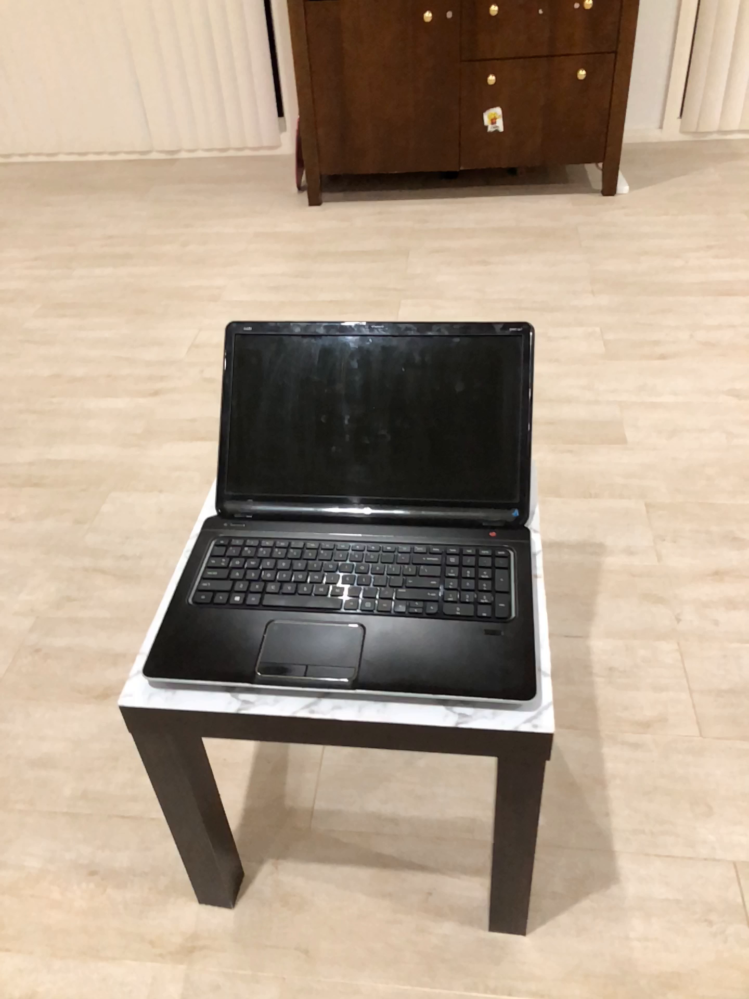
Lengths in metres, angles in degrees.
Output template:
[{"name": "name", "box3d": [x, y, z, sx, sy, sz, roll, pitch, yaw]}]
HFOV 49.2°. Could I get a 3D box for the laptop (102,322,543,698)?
[{"name": "laptop", "box3d": [-0.019, -0.021, 0.925, 0.386, 0.169, 0.440, 2, 39, 8]}]
